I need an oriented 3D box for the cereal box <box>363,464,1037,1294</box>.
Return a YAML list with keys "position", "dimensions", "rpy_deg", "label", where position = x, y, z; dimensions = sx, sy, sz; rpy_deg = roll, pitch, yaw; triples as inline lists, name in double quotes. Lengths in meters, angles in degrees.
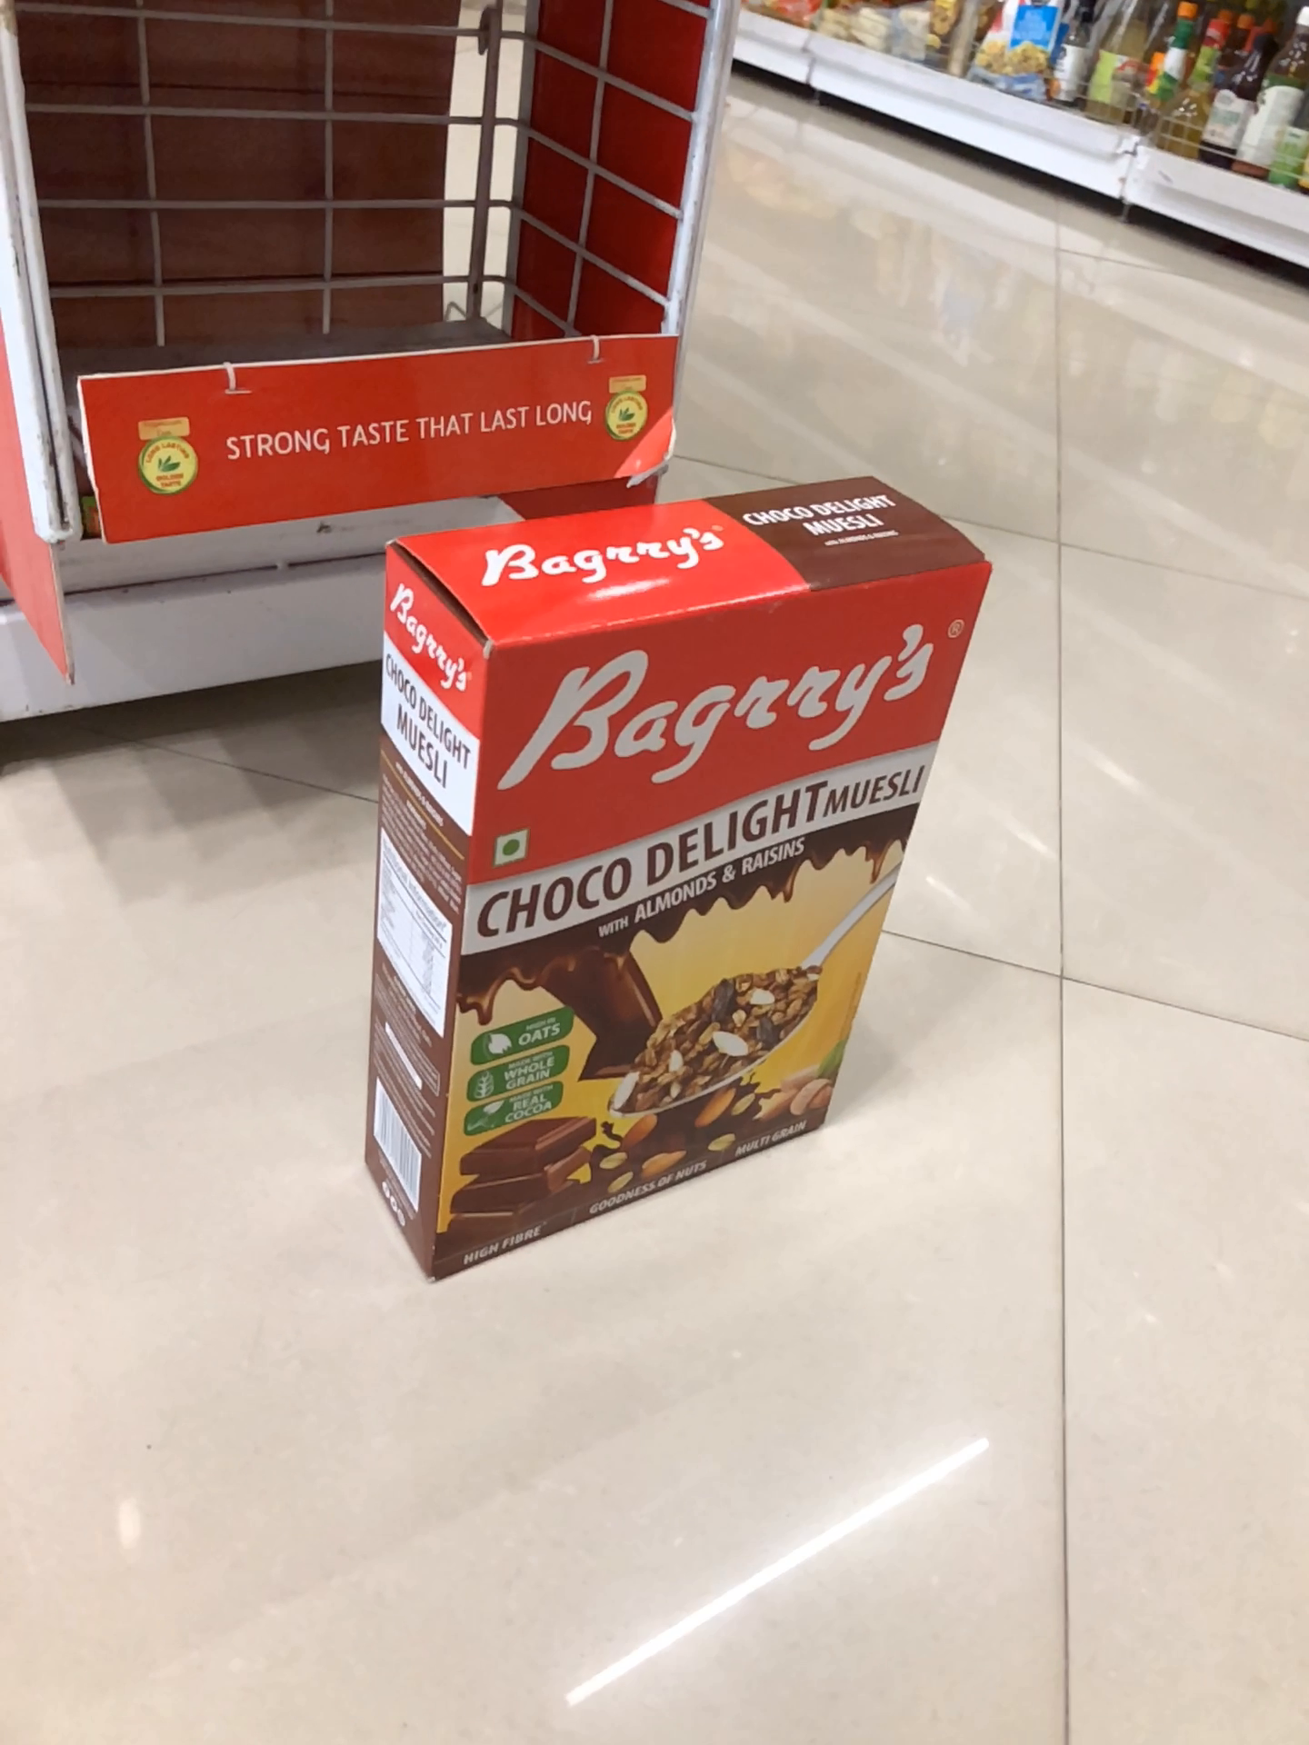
- position: [0.004, 0.004, 0.502]
  dimensions: [0.191, 0.258, 0.070]
  rpy_deg: [-15, 42, -30]
  label: "cereal box"
